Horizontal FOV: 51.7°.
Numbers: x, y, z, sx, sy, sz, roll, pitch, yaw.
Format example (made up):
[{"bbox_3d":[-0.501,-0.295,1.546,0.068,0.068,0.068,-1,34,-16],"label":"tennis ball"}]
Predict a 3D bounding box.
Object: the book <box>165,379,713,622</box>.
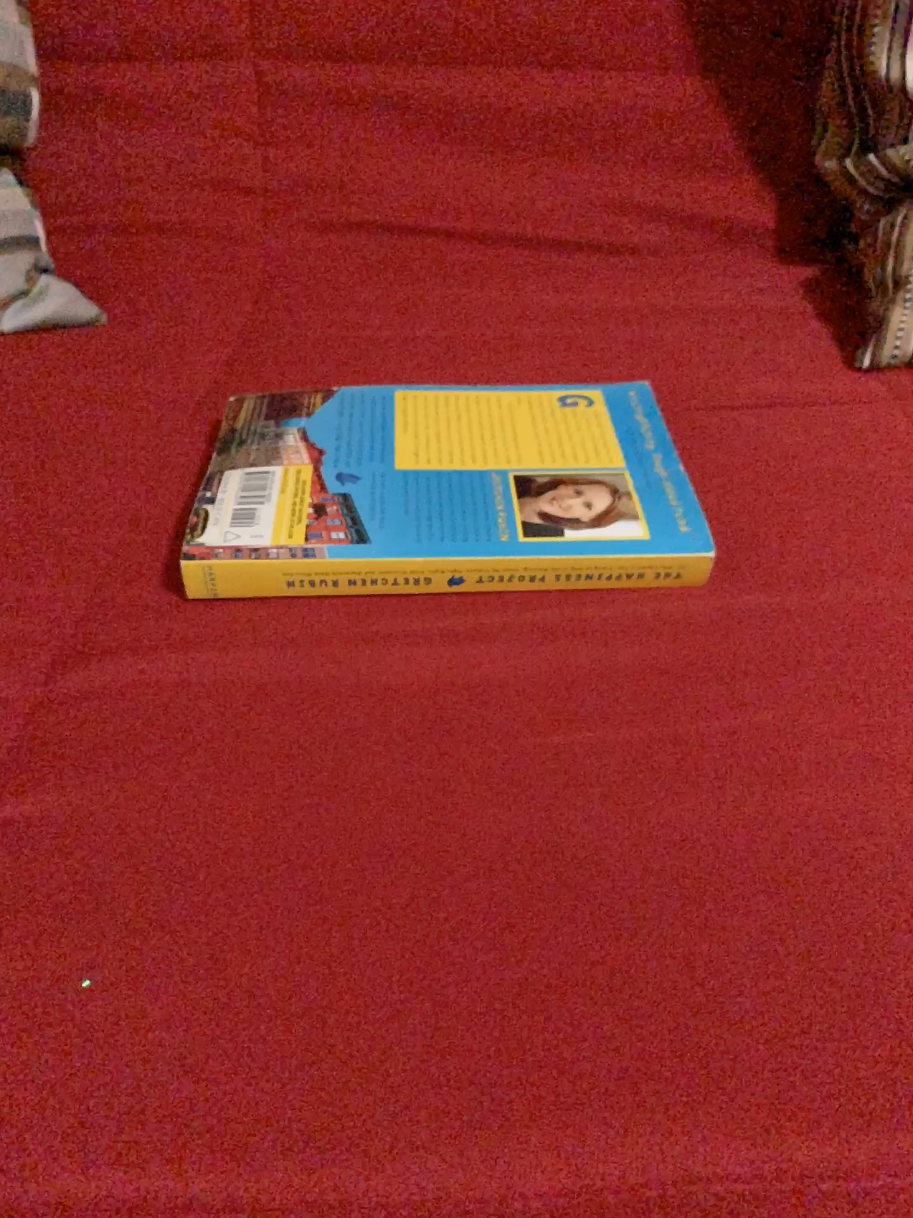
[{"bbox_3d":[-0.008,-0.053,0.410,0.202,0.033,0.133,-1,40,-1],"label":"book"}]
